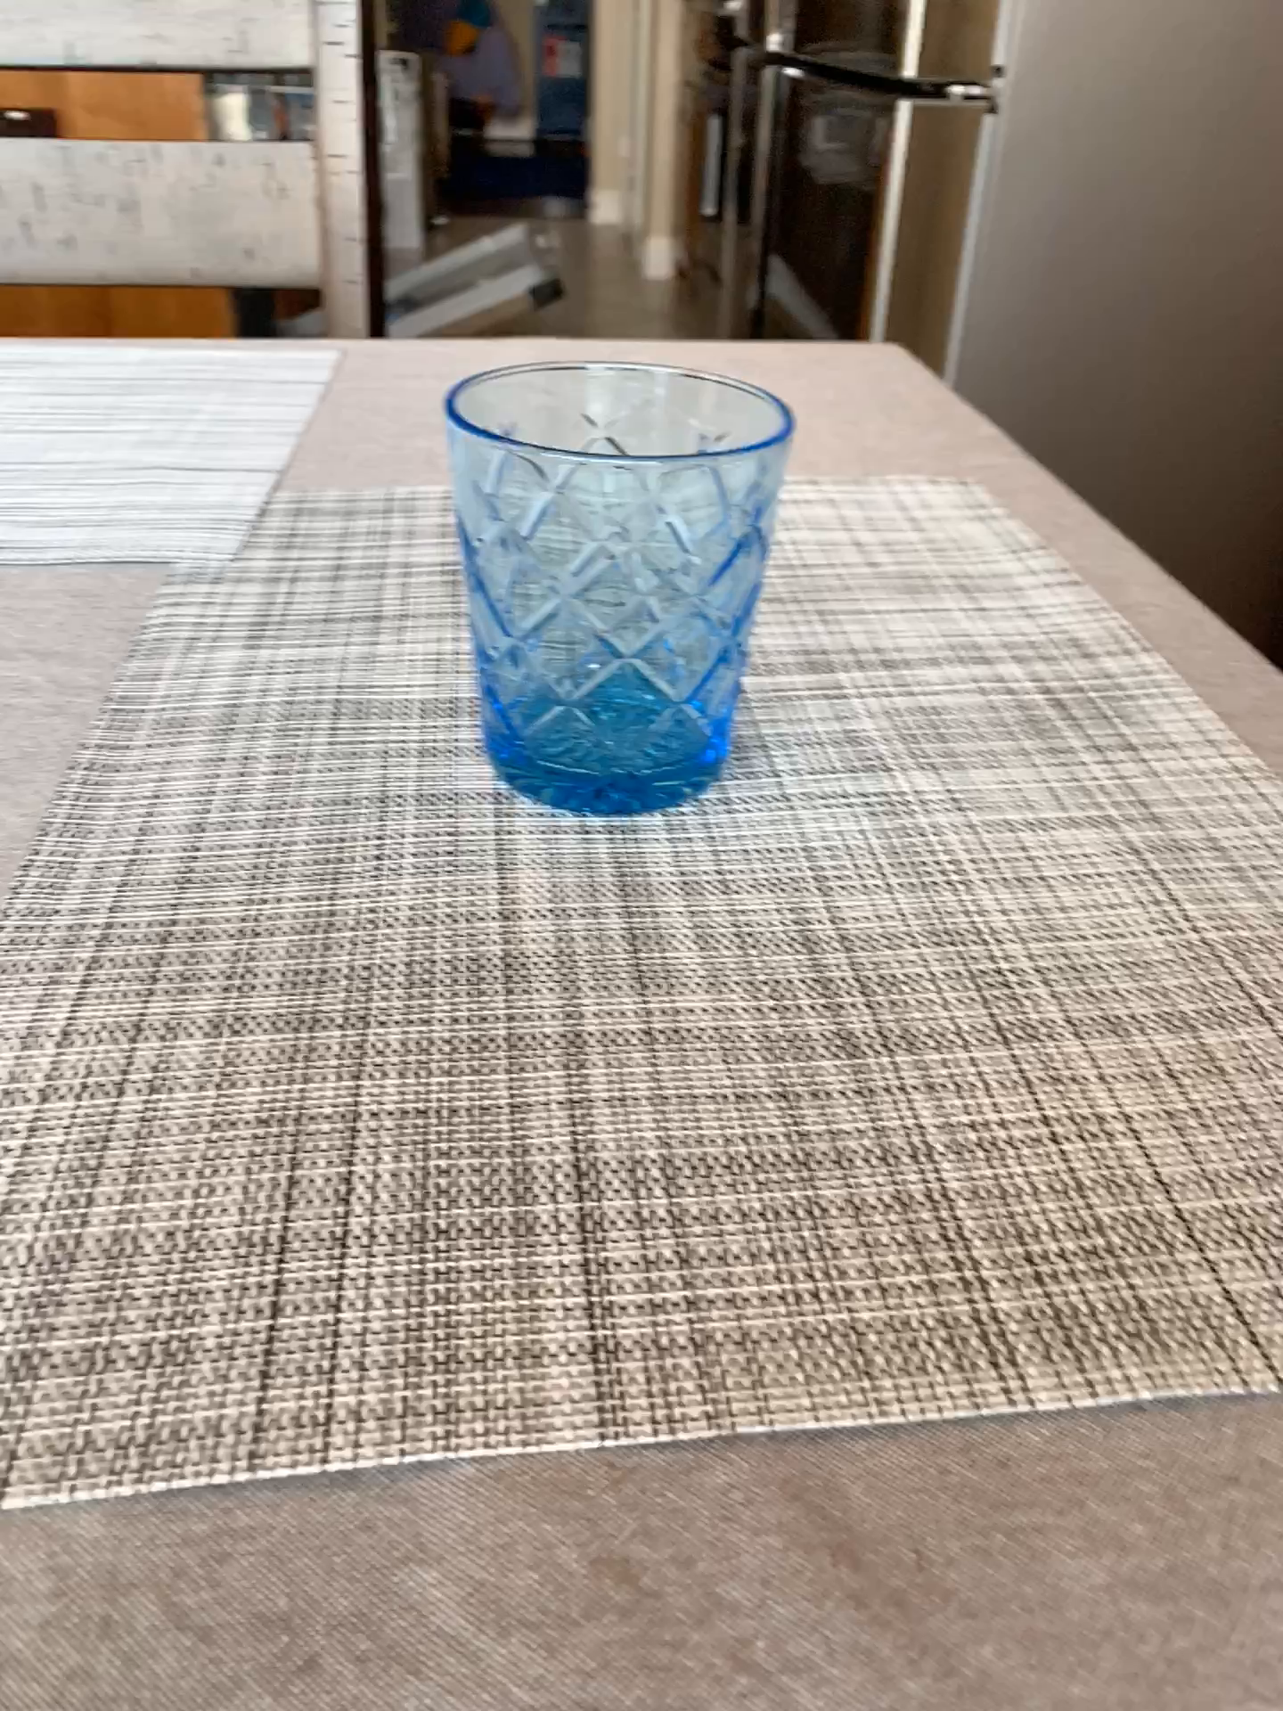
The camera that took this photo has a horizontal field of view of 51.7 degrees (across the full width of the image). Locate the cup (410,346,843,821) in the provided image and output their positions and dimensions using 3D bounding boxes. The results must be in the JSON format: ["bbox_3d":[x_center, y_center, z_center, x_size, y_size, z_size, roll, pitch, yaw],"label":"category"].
[{"bbox_3d":[-0.007,-0.070,0.328,0.087,0.085,0.093,1,33,-1],"label":"cup"}]
